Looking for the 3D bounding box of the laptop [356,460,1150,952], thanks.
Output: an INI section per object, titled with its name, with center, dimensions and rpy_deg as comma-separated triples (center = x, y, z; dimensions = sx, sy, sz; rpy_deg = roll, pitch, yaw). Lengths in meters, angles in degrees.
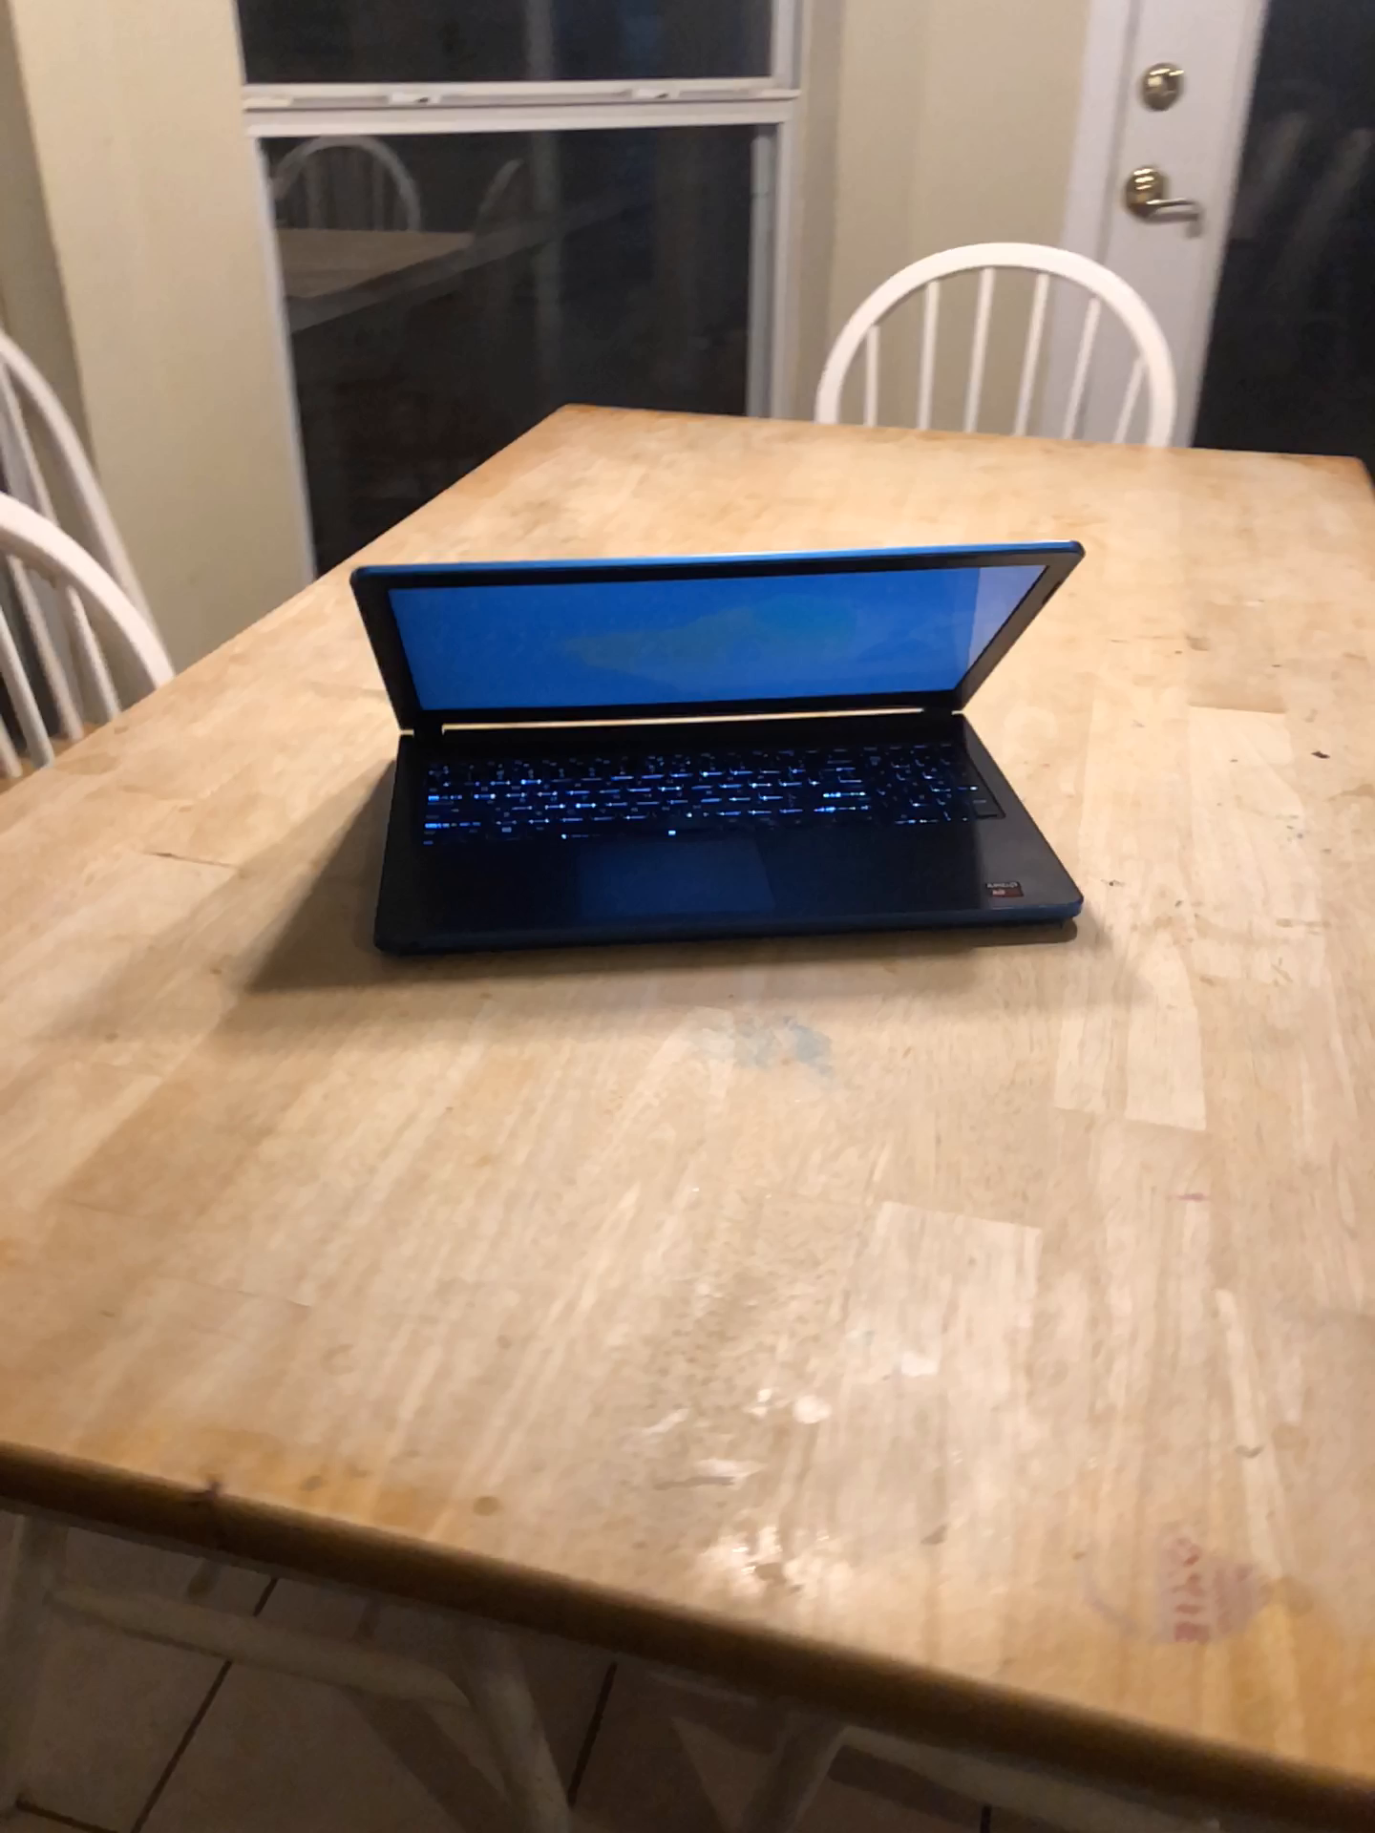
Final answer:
[laptop]
center = 0.016, -0.128, 0.822
dimensions = 0.361, 0.159, 0.250
rpy_deg = -4, 32, -7
